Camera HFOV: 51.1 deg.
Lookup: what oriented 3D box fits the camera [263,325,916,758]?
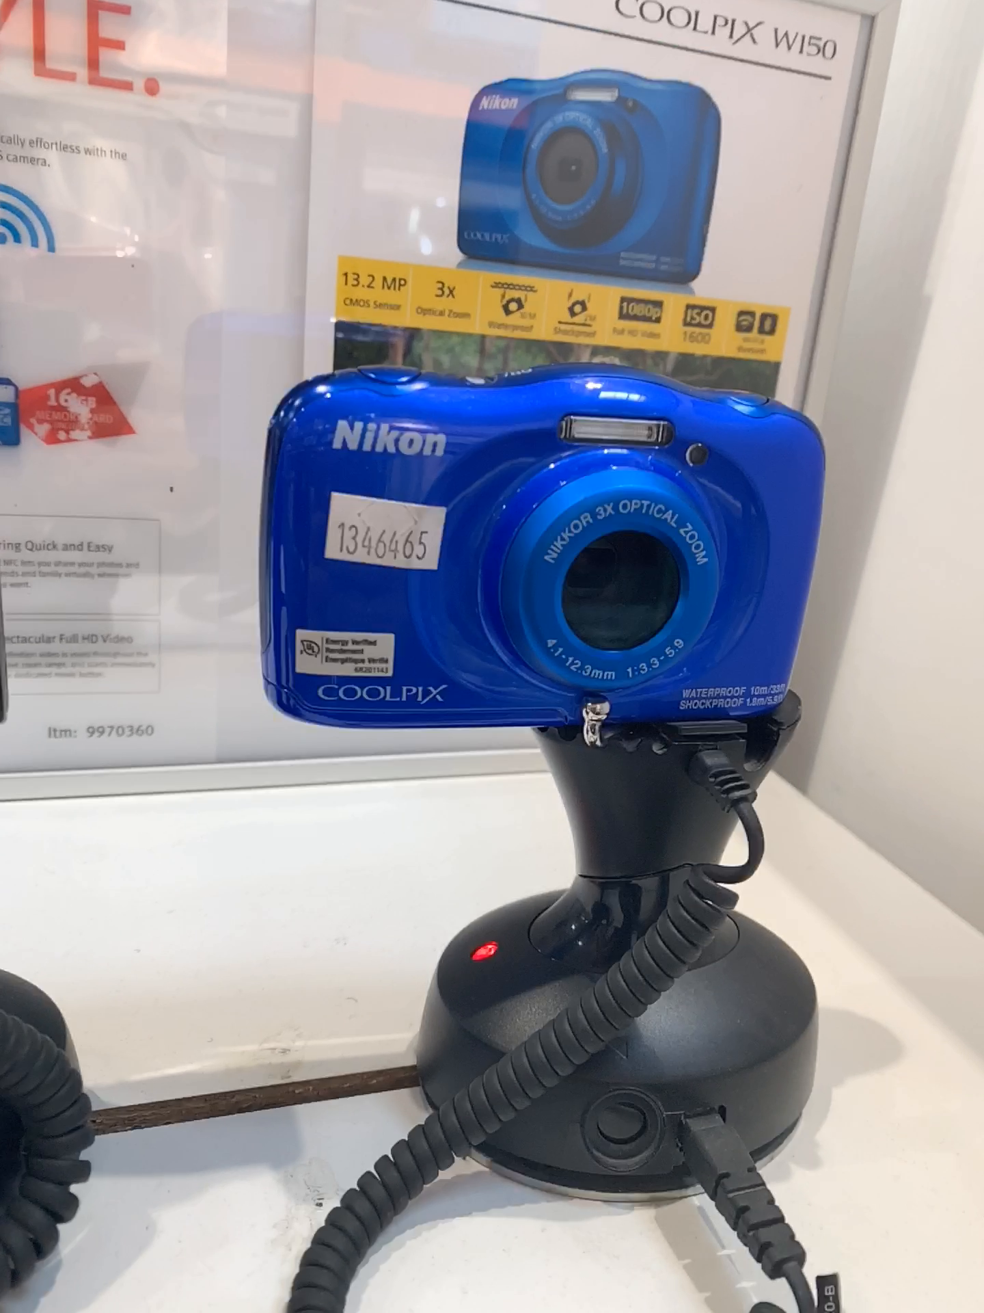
[{"bbox_3d":[0.013,-0.021,0.186,0.101,0.063,0.046,0,18,-17],"label":"camera"}]
